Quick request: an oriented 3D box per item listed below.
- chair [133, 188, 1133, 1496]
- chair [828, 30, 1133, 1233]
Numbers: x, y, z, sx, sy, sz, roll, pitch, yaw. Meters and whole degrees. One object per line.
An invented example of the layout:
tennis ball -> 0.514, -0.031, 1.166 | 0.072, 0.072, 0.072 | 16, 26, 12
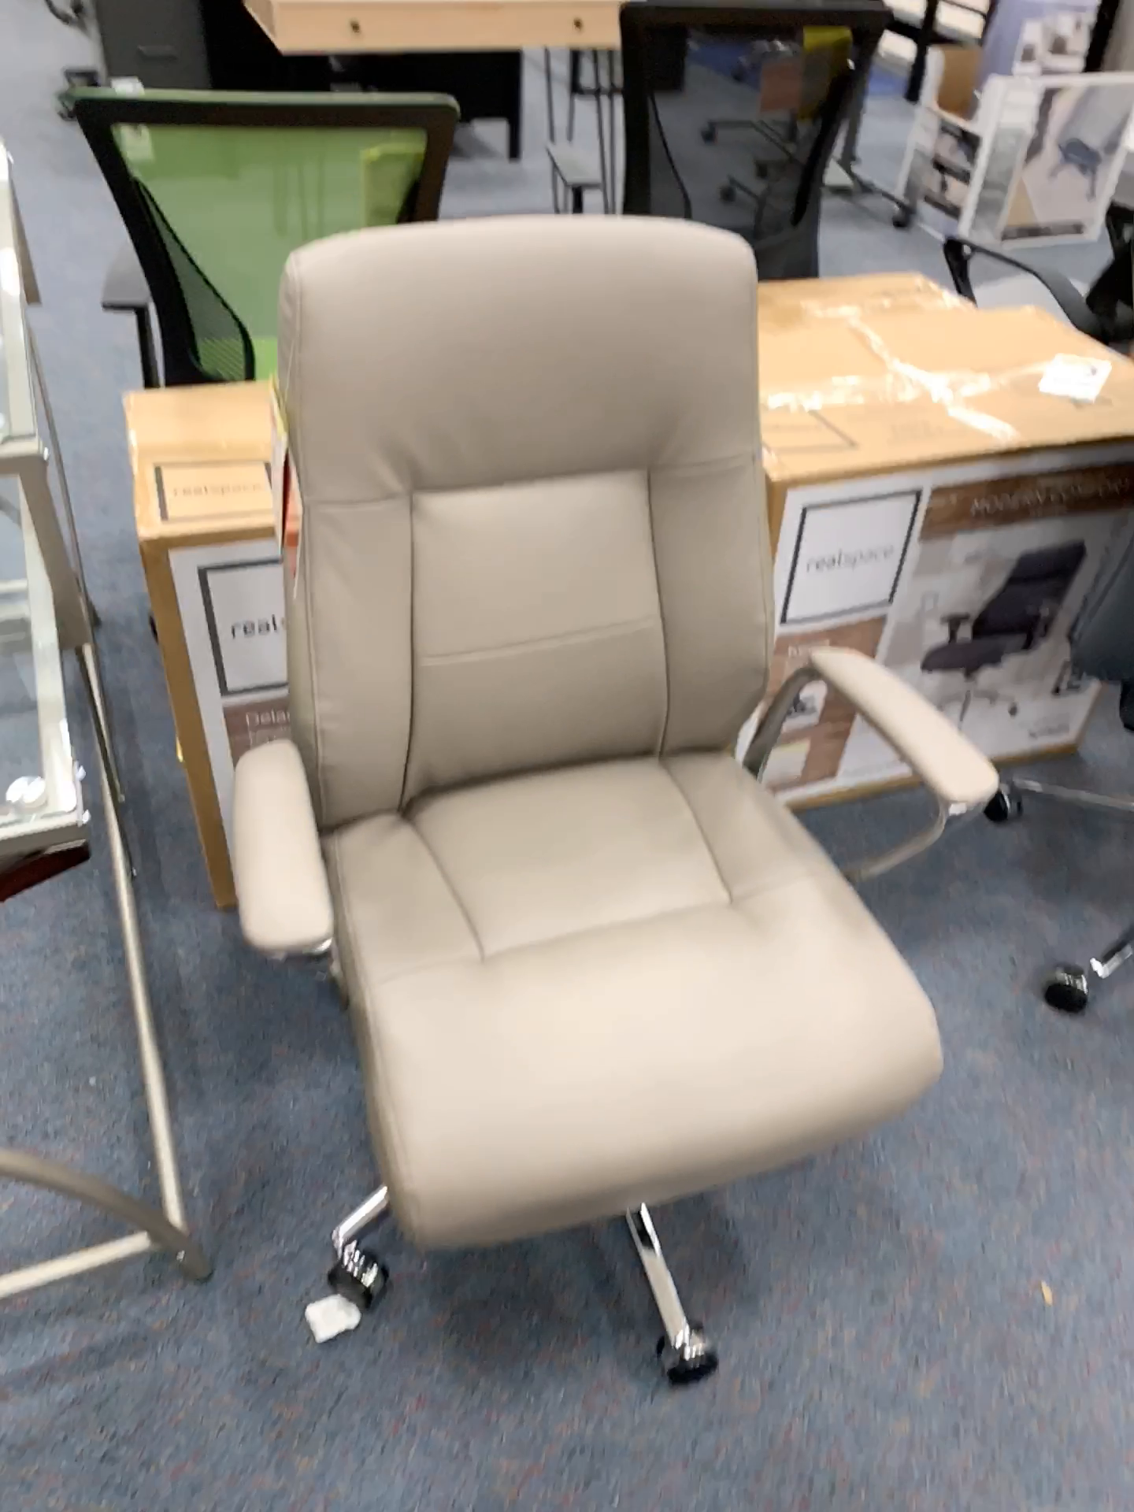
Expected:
chair -> 0.047, 0.077, 1.123 | 0.691, 0.956, 0.677 | -10, 43, -15
chair -> 1.002, -0.199, 1.487 | 0.816, 1.056, 0.813 | 31, 48, 27
